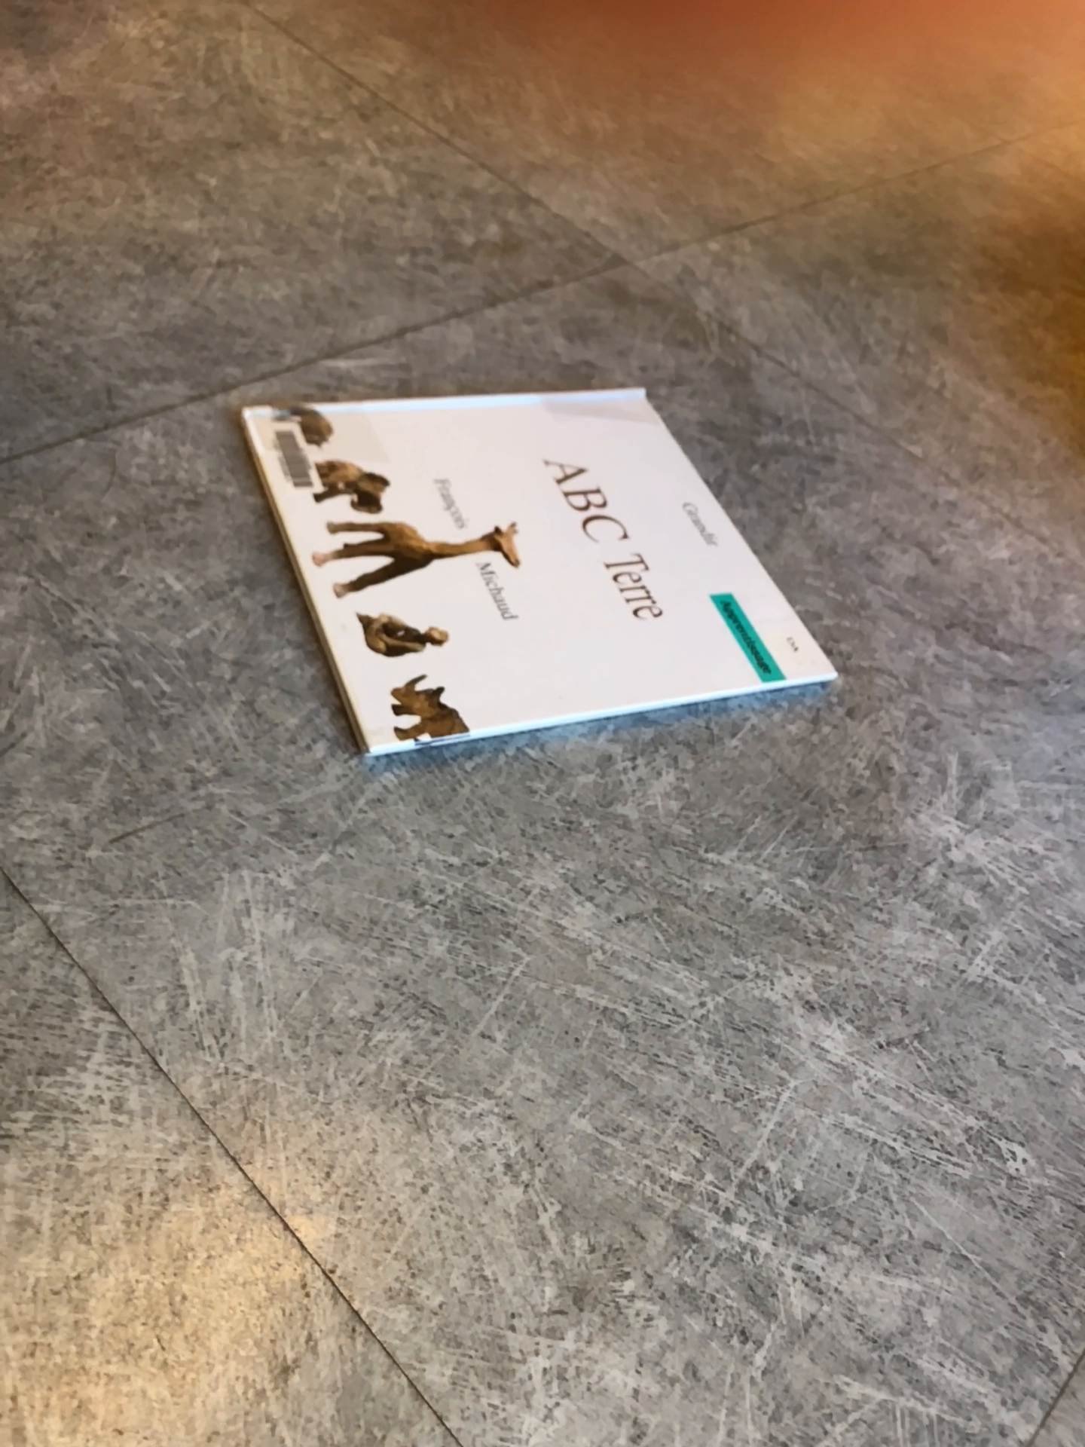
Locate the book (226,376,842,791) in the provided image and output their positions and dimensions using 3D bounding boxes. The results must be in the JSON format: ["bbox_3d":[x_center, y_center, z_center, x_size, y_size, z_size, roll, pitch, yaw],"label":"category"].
[{"bbox_3d":[-0.010,-0.072,0.493,0.194,0.020,0.201,-9,52,-24],"label":"book"}]
